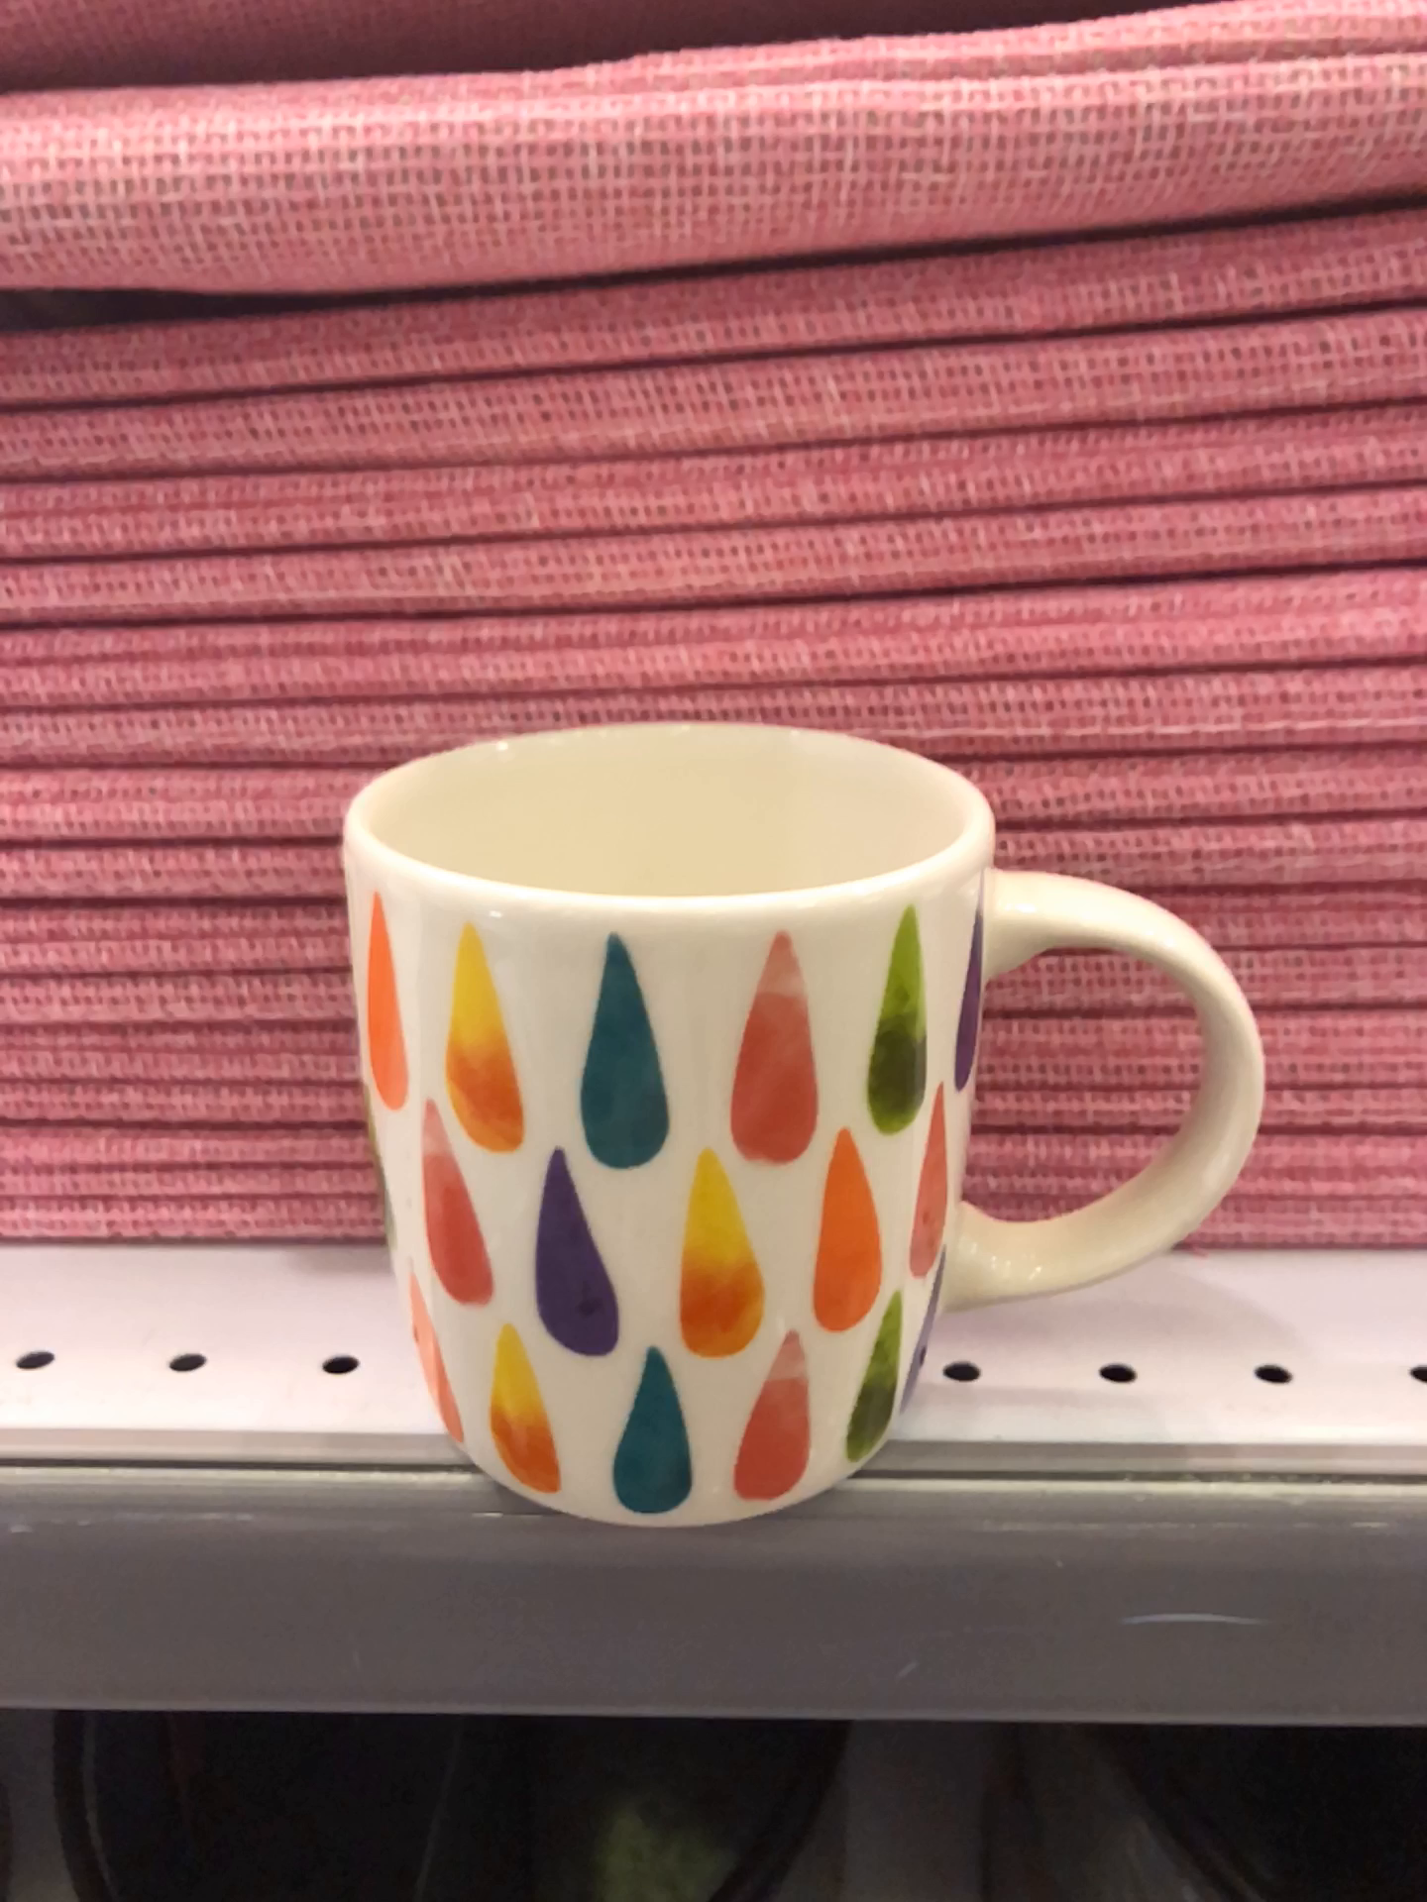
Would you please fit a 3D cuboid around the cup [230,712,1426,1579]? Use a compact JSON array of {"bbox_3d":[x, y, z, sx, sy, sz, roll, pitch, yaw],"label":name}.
[{"bbox_3d":[0.014,0.020,0.228,0.130,0.089,0.091,0,20,0],"label":"cup"}]
